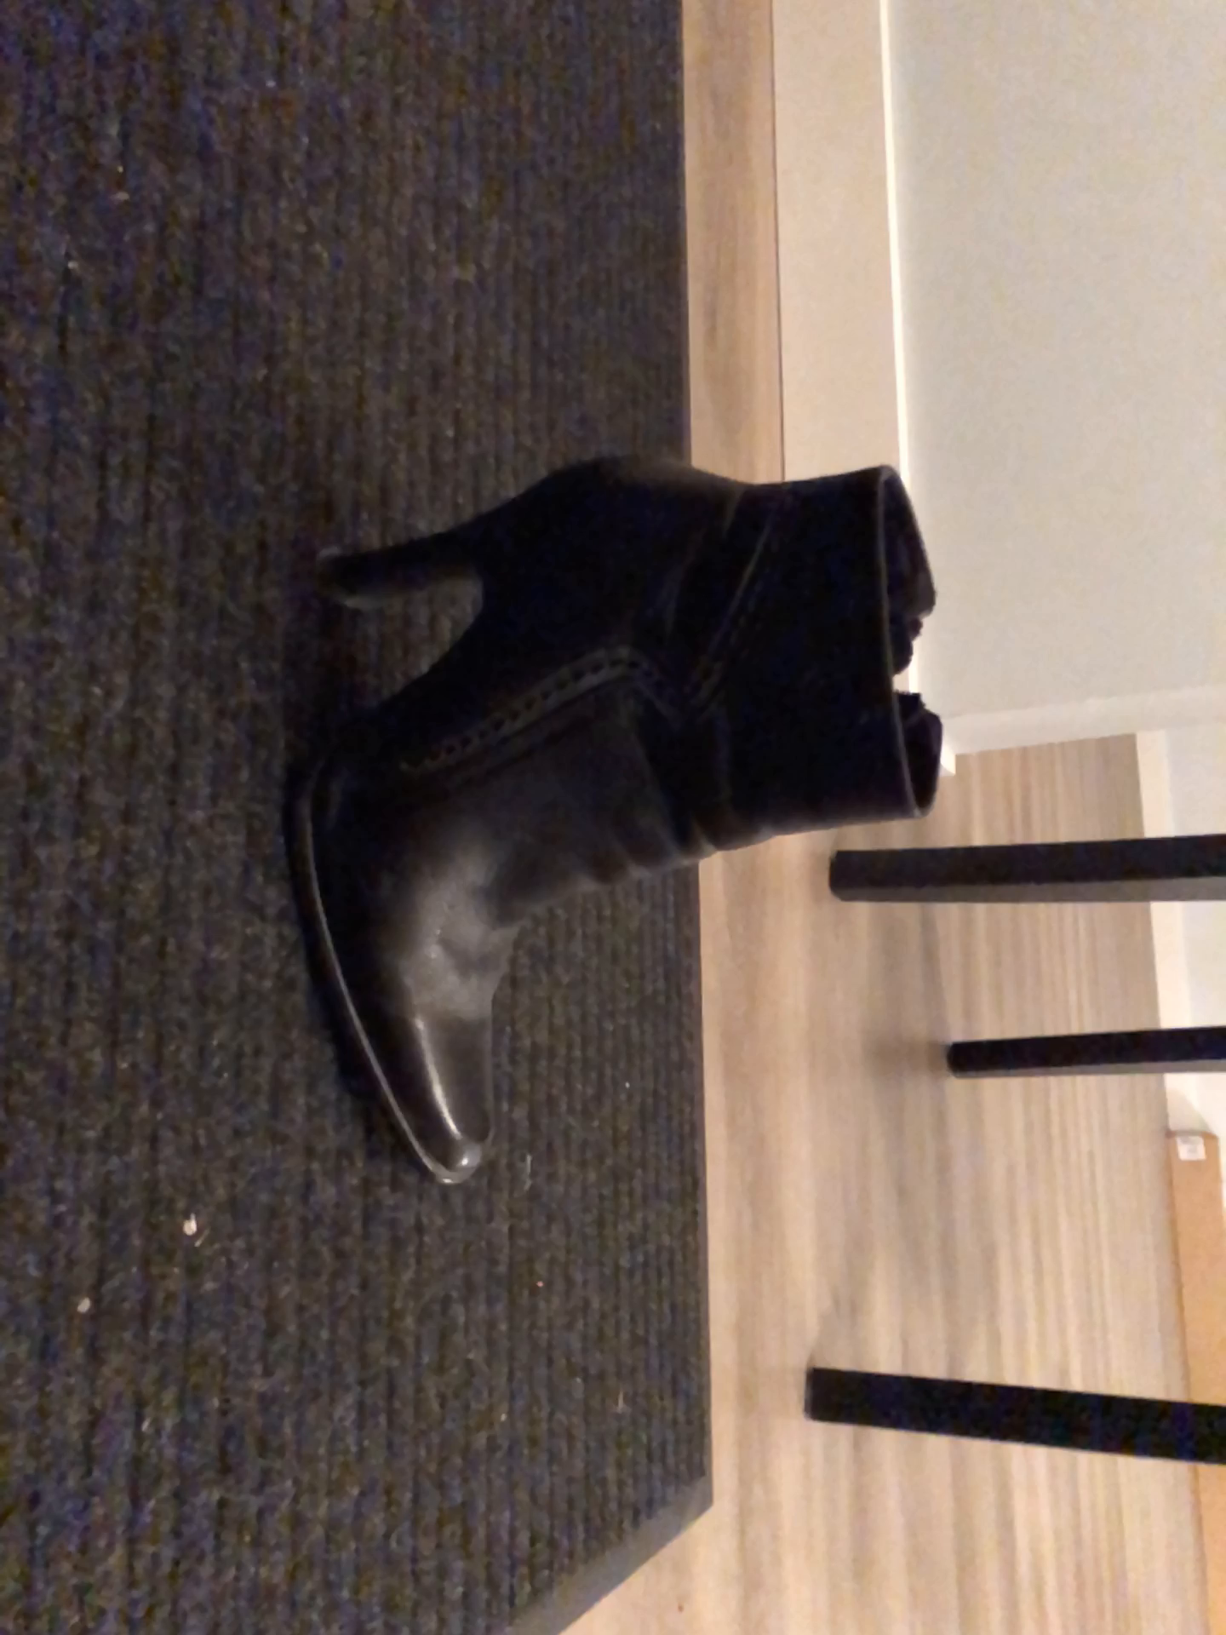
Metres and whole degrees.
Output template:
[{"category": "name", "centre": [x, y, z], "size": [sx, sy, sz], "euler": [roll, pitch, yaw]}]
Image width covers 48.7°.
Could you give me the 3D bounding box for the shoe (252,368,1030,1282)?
[{"category": "shoe", "centre": [0.009, 0.010, 0.437], "size": [0.091, 0.209, 0.240], "euler": [-4, 88, -66]}]
